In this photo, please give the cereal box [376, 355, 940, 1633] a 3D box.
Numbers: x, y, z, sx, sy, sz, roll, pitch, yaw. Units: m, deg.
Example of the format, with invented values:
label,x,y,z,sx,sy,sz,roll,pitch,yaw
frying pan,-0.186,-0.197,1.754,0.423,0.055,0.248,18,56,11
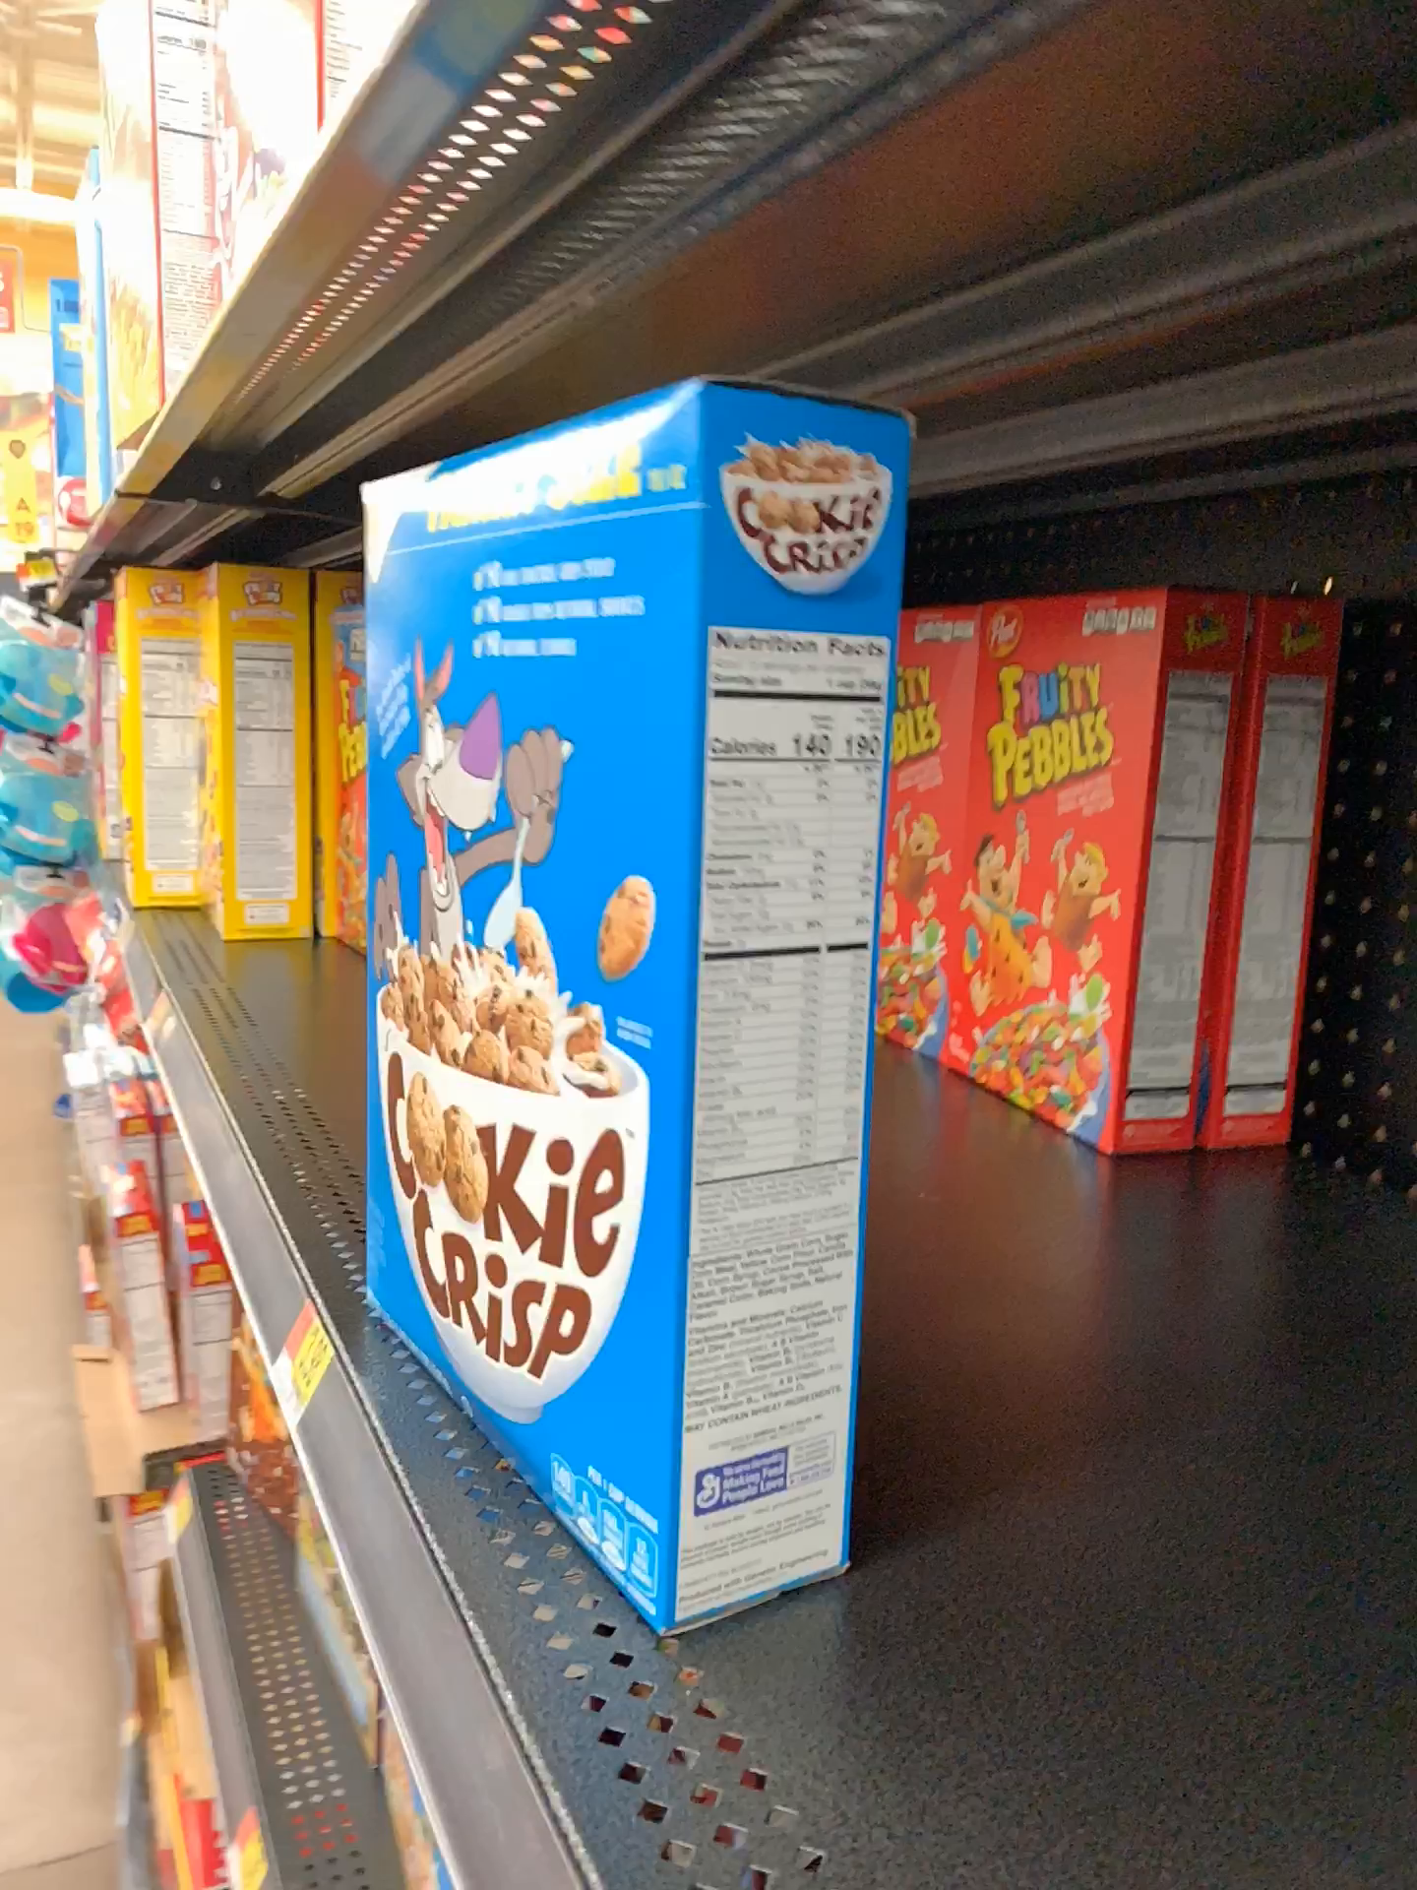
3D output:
label,x,y,z,sx,sy,sz,roll,pitch,yaw
cereal box,-0.039,0.001,0.502,0.070,0.339,0.250,-4,11,-31
